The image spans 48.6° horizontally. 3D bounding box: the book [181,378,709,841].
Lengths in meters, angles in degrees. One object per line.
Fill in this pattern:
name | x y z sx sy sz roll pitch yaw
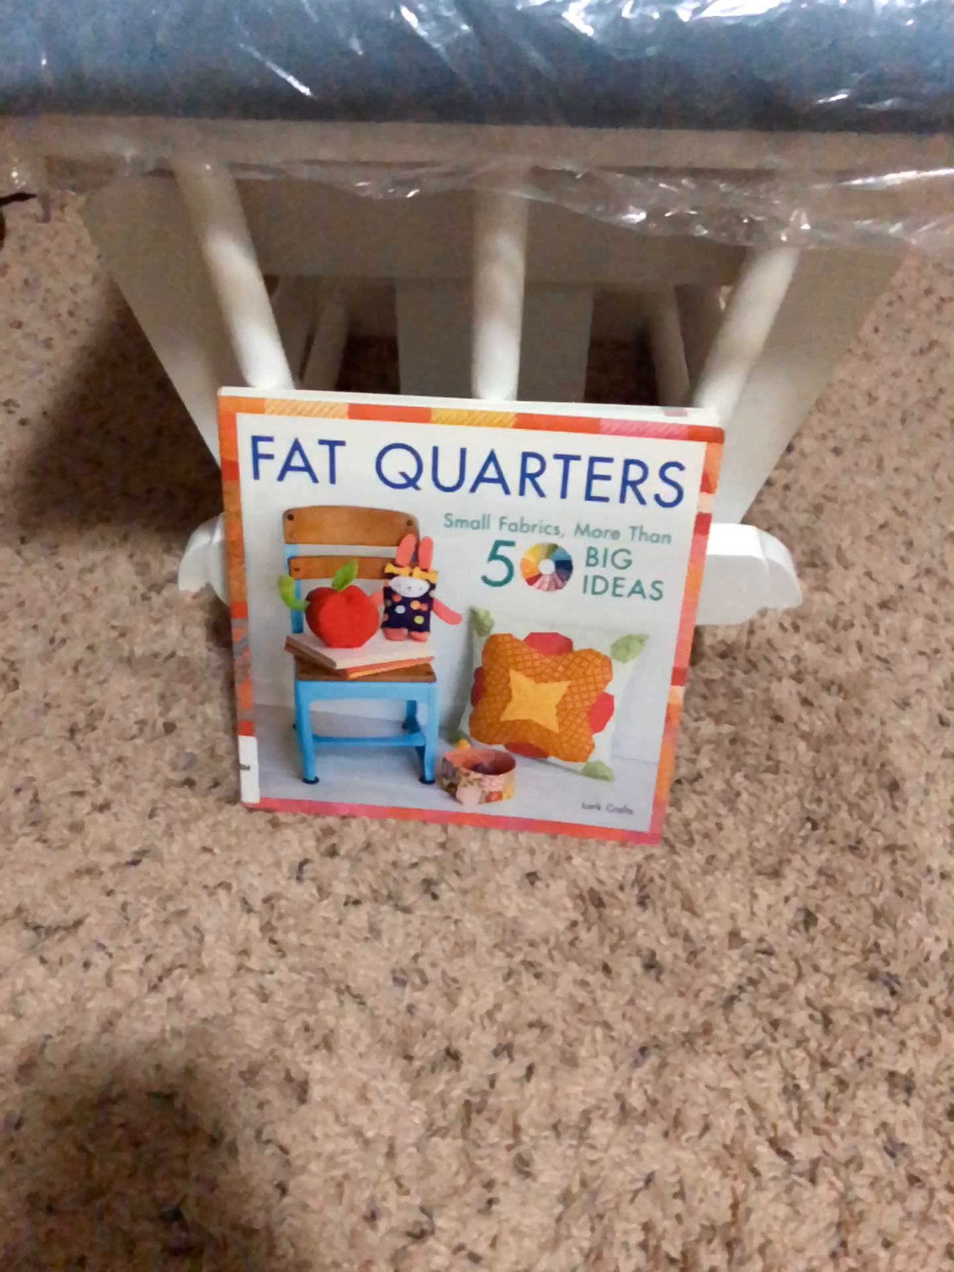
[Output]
book | -0.016 -0.007 0.466 0.207 0.193 0.030 4 25 4
